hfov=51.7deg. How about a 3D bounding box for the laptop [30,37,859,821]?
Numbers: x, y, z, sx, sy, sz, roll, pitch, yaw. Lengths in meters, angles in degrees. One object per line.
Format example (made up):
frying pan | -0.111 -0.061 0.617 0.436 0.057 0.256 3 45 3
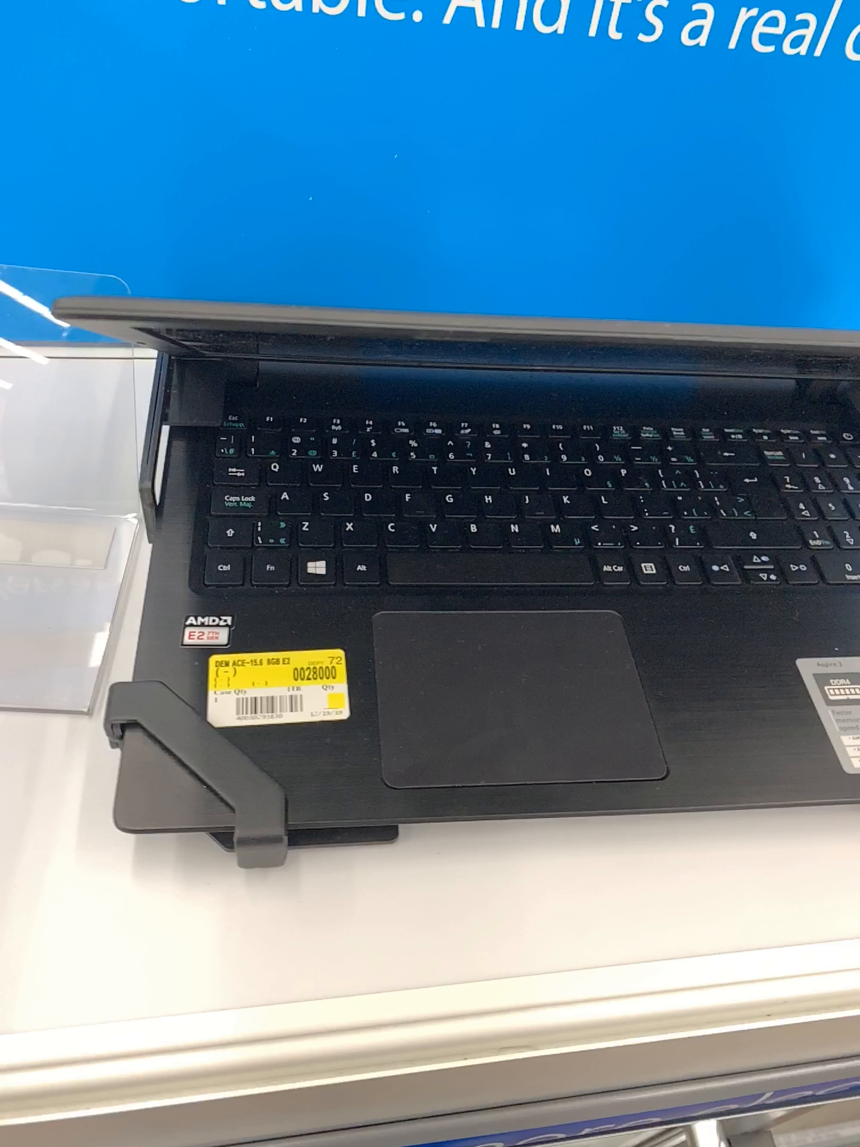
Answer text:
laptop | 0.079 -0.054 0.330 0.364 0.137 0.222 0 53 -10
